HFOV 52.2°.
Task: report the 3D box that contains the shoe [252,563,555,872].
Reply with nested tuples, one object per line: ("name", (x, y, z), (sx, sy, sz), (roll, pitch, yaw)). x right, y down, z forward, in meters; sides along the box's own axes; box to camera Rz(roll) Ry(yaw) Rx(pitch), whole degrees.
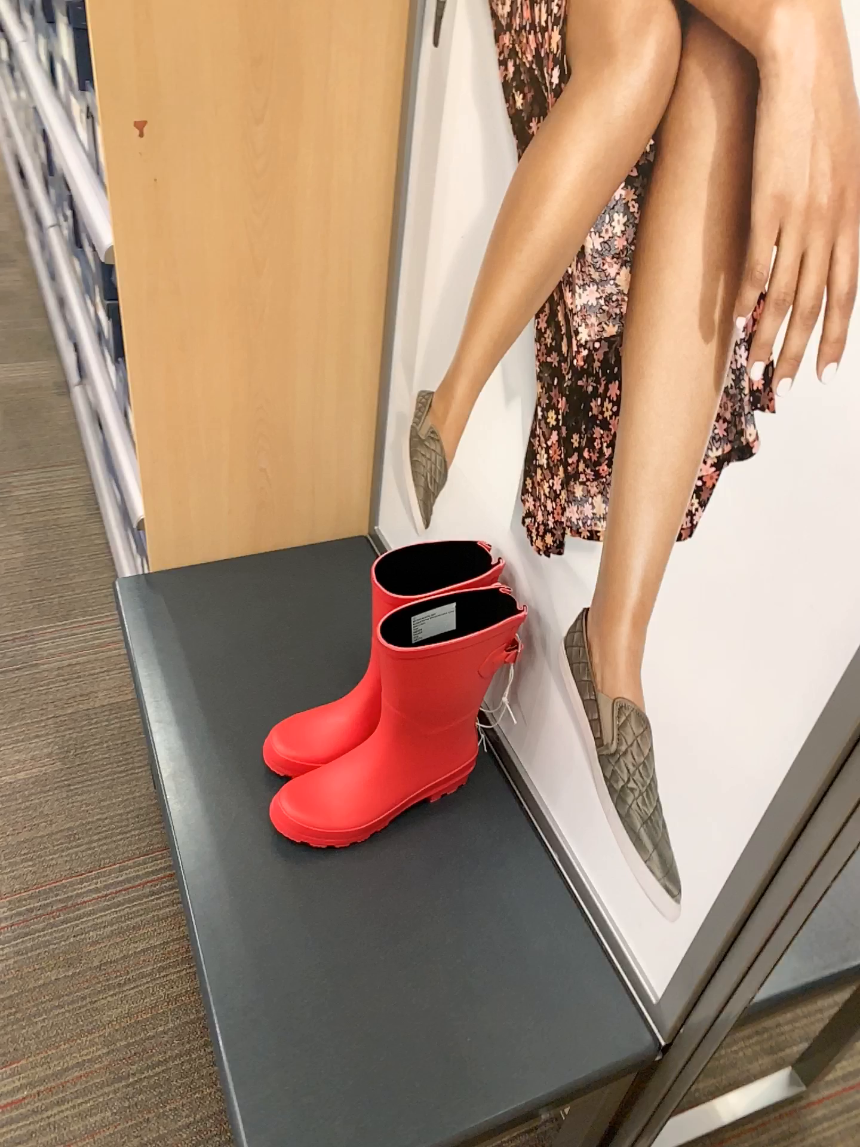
("shoe", (-0.035, 0.146, 0.911), (0.270, 0.249, 0.107), (-14, 43, -26))

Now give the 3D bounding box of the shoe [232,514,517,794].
("shoe", (-0.067, 0.087, 0.970), (0.270, 0.249, 0.107), (-12, 42, -23))
